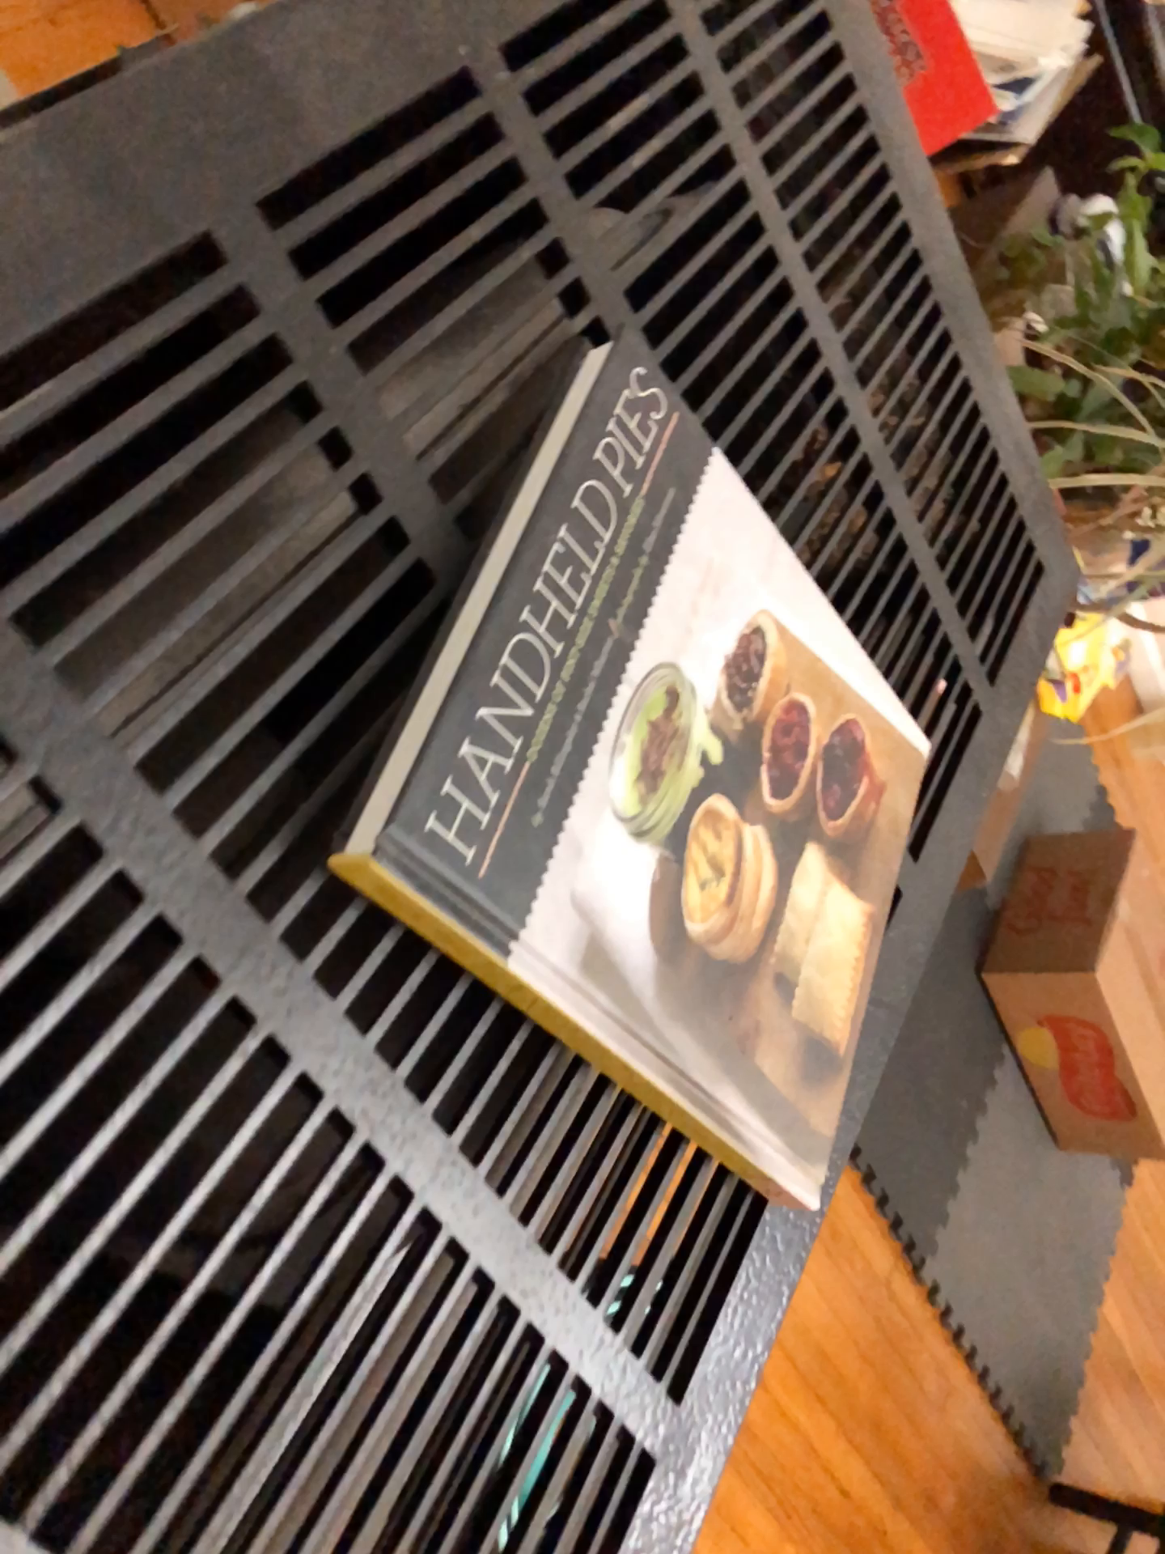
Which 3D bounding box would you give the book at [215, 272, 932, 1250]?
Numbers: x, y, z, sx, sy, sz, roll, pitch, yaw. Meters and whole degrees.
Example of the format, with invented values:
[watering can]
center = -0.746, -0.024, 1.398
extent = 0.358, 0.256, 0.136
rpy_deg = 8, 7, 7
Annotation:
[book]
center = 0.027, 0.004, 0.393
extent = 0.231, 0.020, 0.200
rpy_deg = 44, 55, -35
